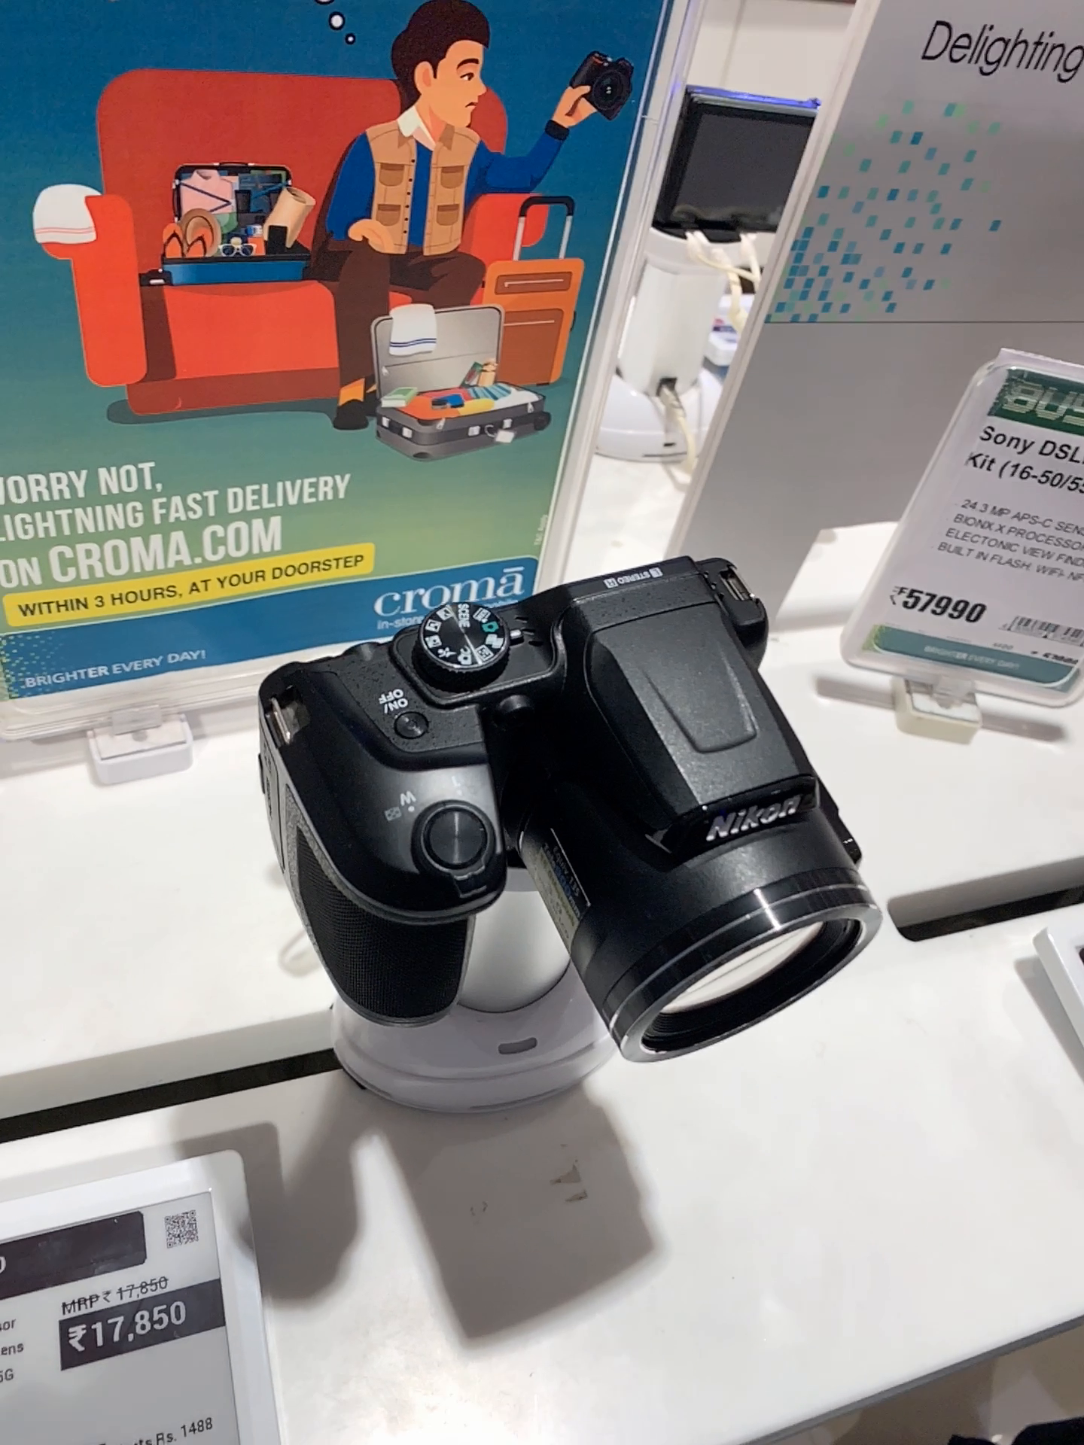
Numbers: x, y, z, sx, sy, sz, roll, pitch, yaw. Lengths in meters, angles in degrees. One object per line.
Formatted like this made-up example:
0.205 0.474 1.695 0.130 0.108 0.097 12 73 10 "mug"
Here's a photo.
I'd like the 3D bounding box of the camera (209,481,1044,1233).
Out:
0.009 0.020 0.224 0.120 0.080 0.090 -16 54 -25 "camera"
